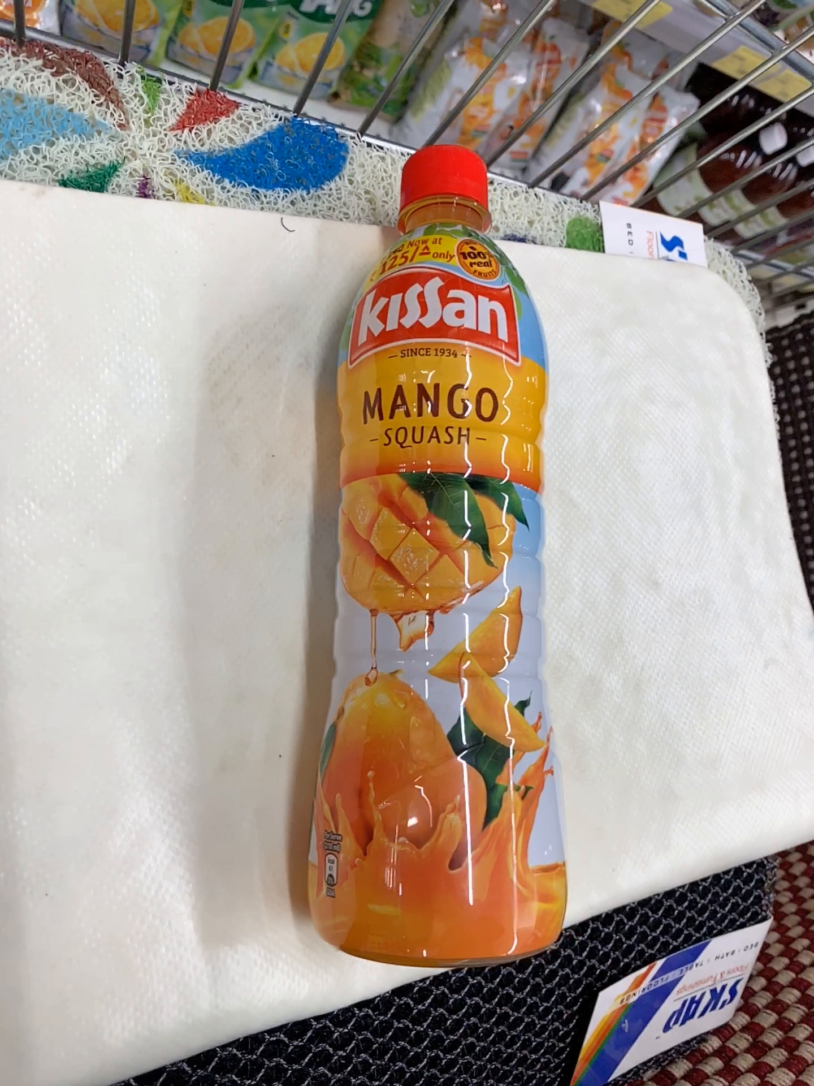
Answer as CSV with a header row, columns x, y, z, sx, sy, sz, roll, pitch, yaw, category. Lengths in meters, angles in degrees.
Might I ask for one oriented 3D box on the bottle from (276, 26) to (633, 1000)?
x,y,z,sx,sy,sz,roll,pitch,yaw,category
0.020,-0.009,0.249,0.080,0.070,0.230,11,80,-62,bottle
